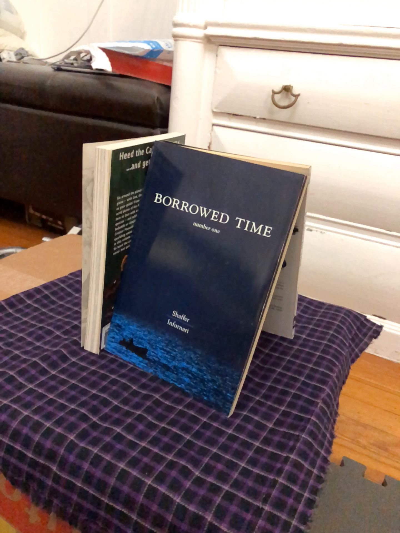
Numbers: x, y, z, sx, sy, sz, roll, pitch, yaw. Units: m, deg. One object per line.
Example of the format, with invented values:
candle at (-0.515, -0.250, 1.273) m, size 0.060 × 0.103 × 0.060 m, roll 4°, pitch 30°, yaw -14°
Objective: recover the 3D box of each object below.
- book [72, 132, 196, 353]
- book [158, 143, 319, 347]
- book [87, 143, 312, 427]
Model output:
book at (-0.062, -0.029, 0.430) m, size 0.020 × 0.189 × 0.141 m, roll 22°, pitch 26°, yaw 18°
book at (0.034, -0.014, 0.429) m, size 0.140 × 0.199 × 0.010 m, roll 15°, pitch 43°, yaw 23°
book at (-0.009, 0.008, 0.374) m, size 0.150 × 0.200 × 0.010 m, roll 19°, pitch 5°, yaw 24°
